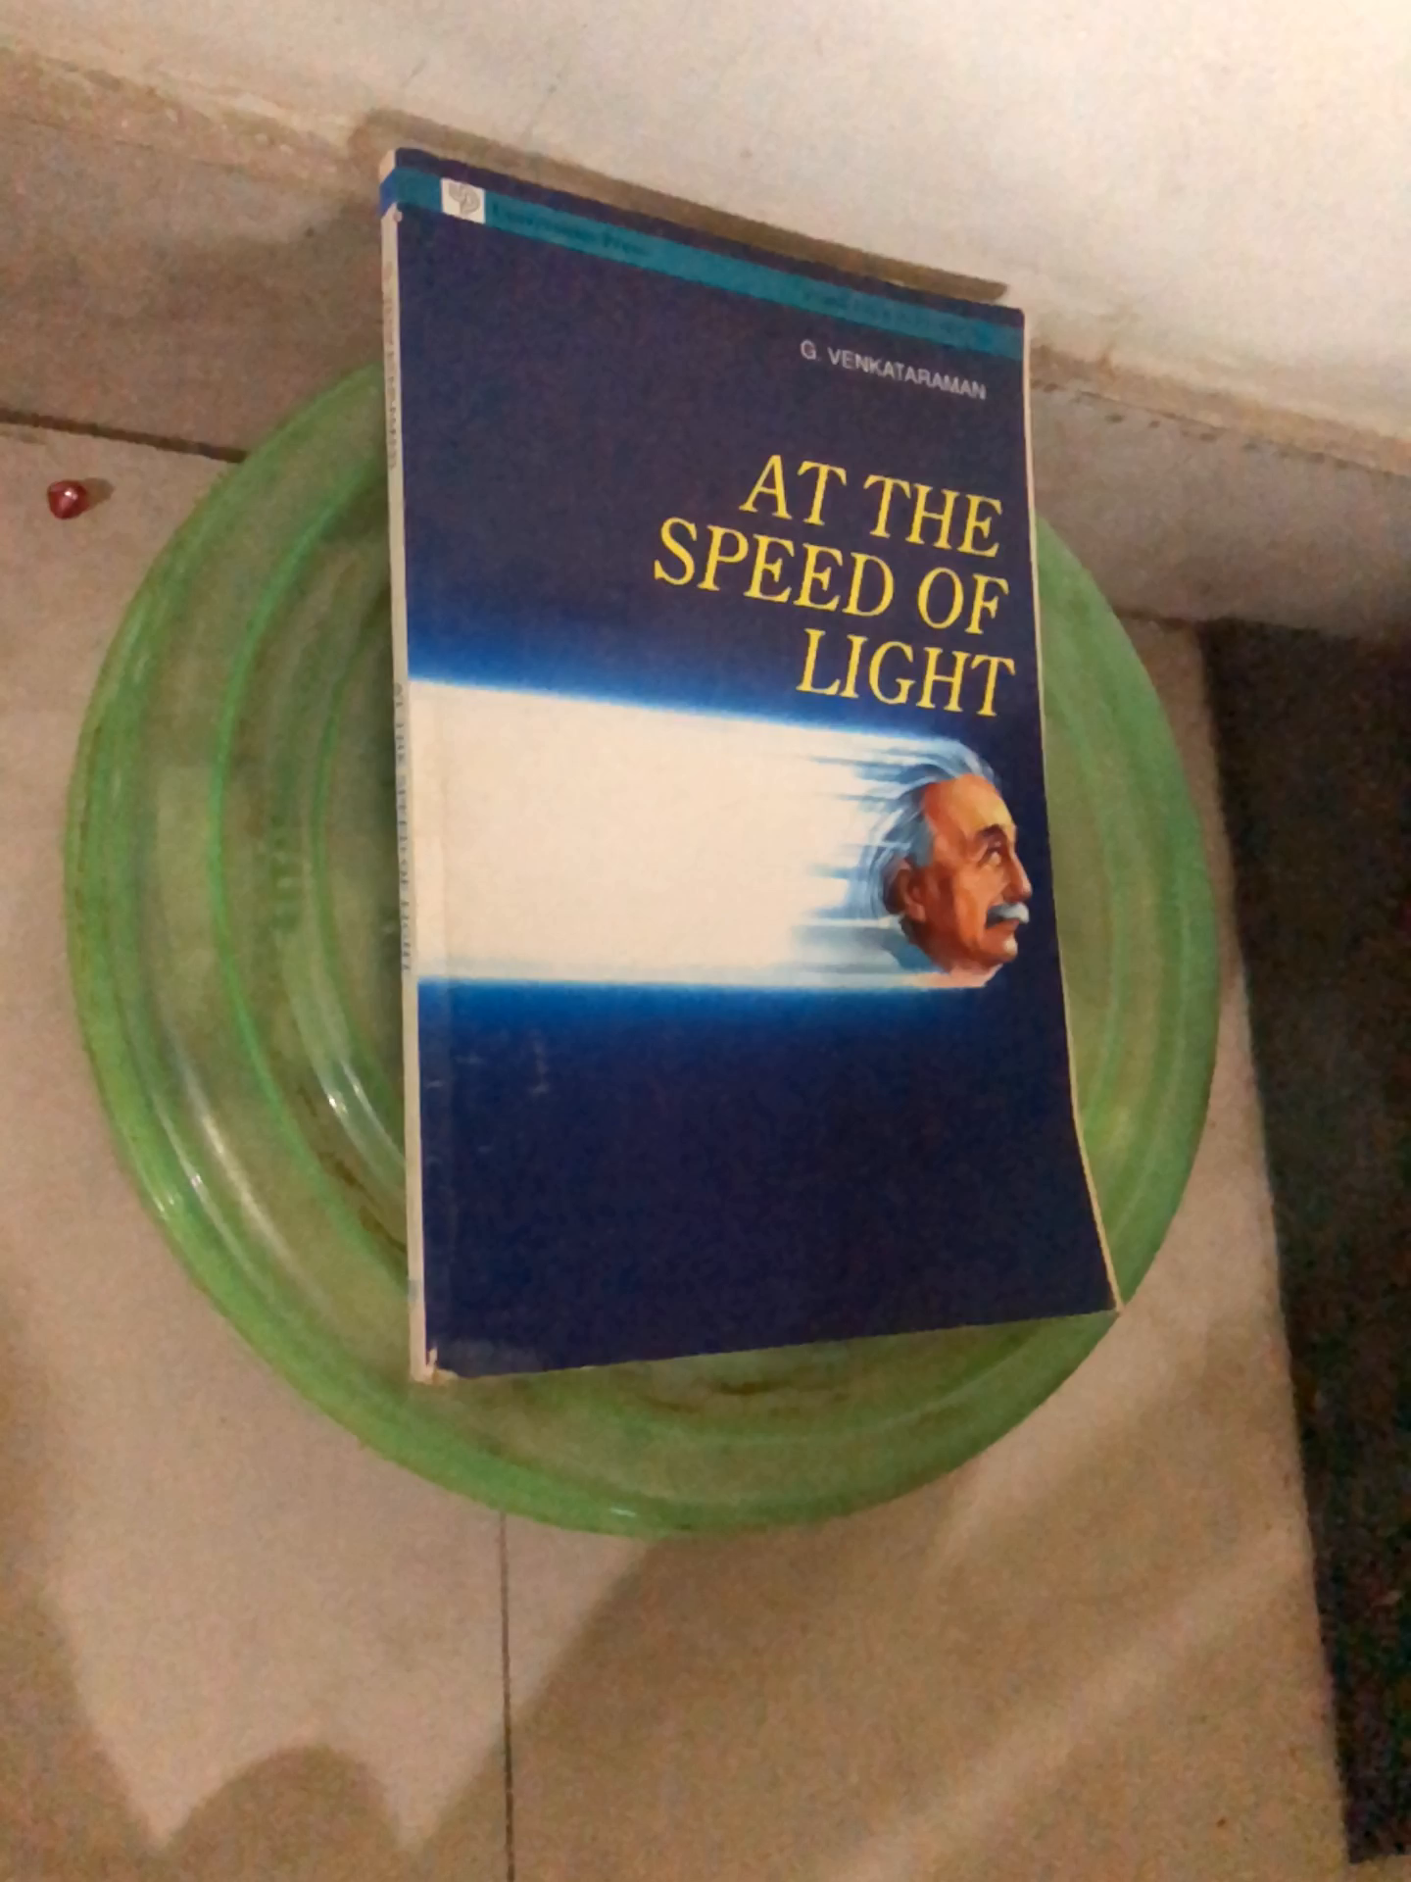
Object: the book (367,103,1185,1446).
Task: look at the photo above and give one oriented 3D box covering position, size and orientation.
[{"bbox_3d":[0.015,-0.032,0.302,0.151,0.020,0.230,2,77,-28],"label":"book"}]
